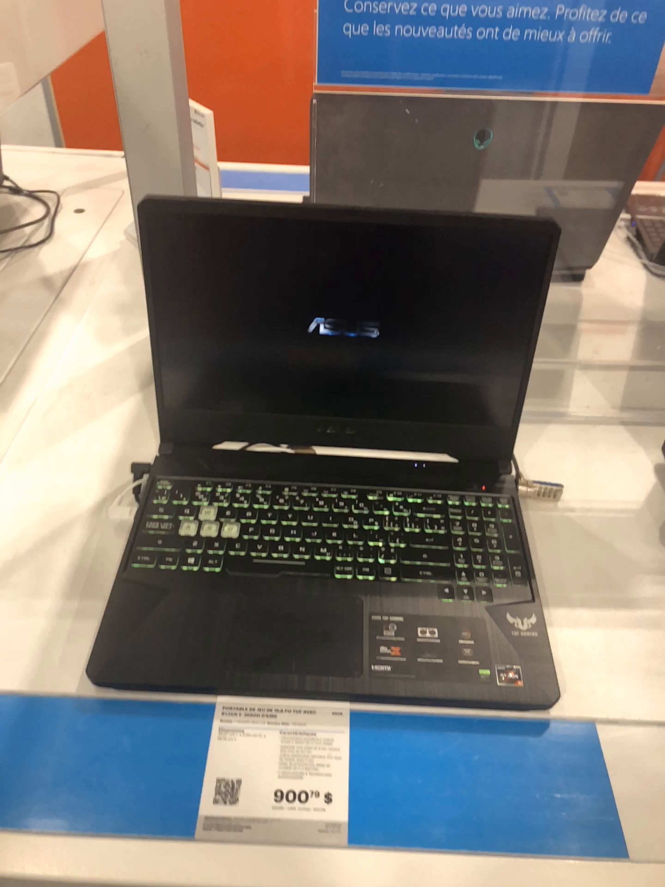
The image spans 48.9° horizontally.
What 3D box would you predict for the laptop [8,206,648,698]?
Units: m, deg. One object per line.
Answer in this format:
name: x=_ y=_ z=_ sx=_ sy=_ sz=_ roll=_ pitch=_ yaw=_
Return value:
laptop: x=0.004 y=-0.005 z=0.587 sx=0.350 sy=0.235 sz=0.302 roll=3 pitch=41 yaw=1
